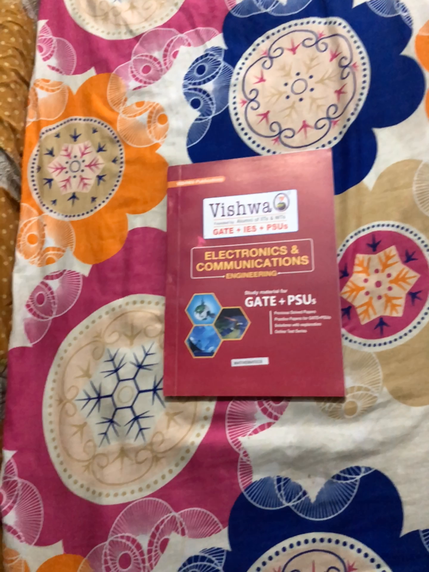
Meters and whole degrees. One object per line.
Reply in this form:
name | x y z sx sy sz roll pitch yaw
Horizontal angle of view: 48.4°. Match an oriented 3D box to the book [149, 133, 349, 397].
book | 0.036 -0.025 0.561 0.217 0.030 0.300 -2 77 12
